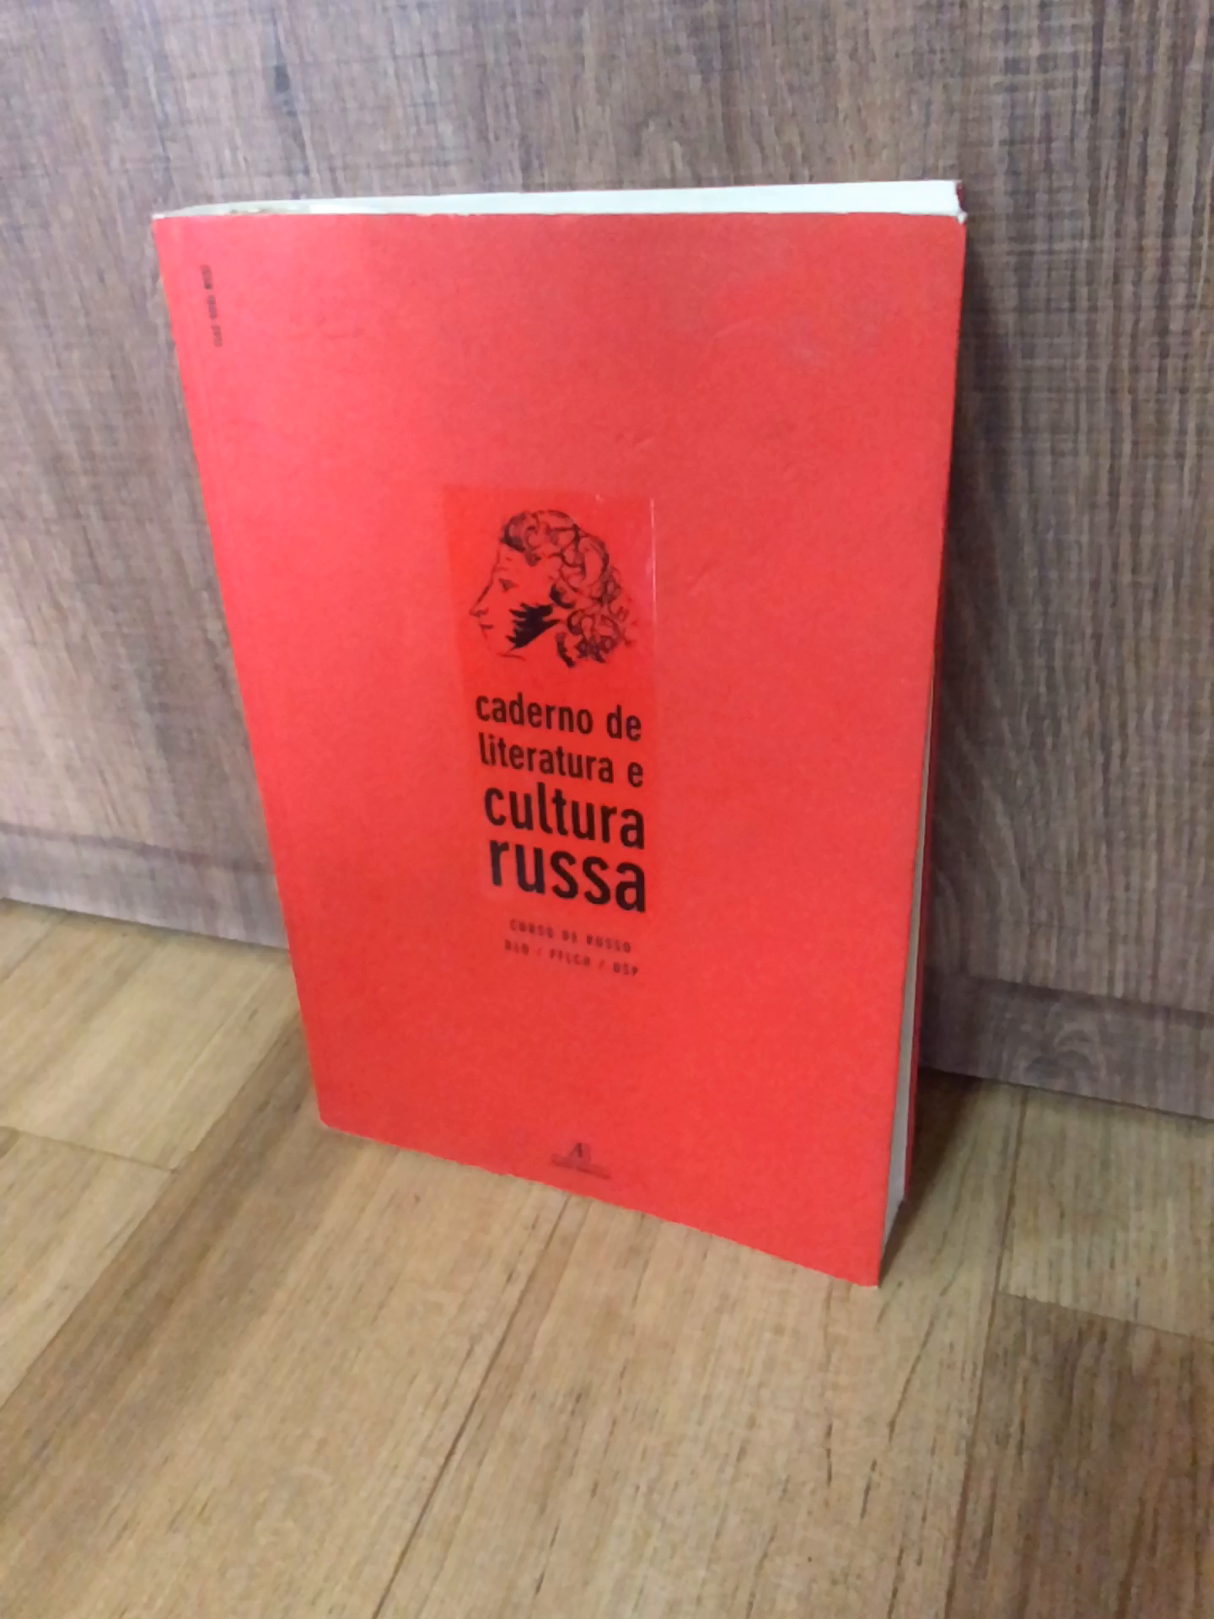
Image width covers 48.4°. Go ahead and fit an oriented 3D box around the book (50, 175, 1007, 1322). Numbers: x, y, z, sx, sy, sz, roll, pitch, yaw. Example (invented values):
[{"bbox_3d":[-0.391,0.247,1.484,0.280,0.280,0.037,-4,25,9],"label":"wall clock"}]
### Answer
[{"bbox_3d":[-0.016,-0.009,0.319,0.187,0.248,0.040,9,31,22],"label":"book"}]
